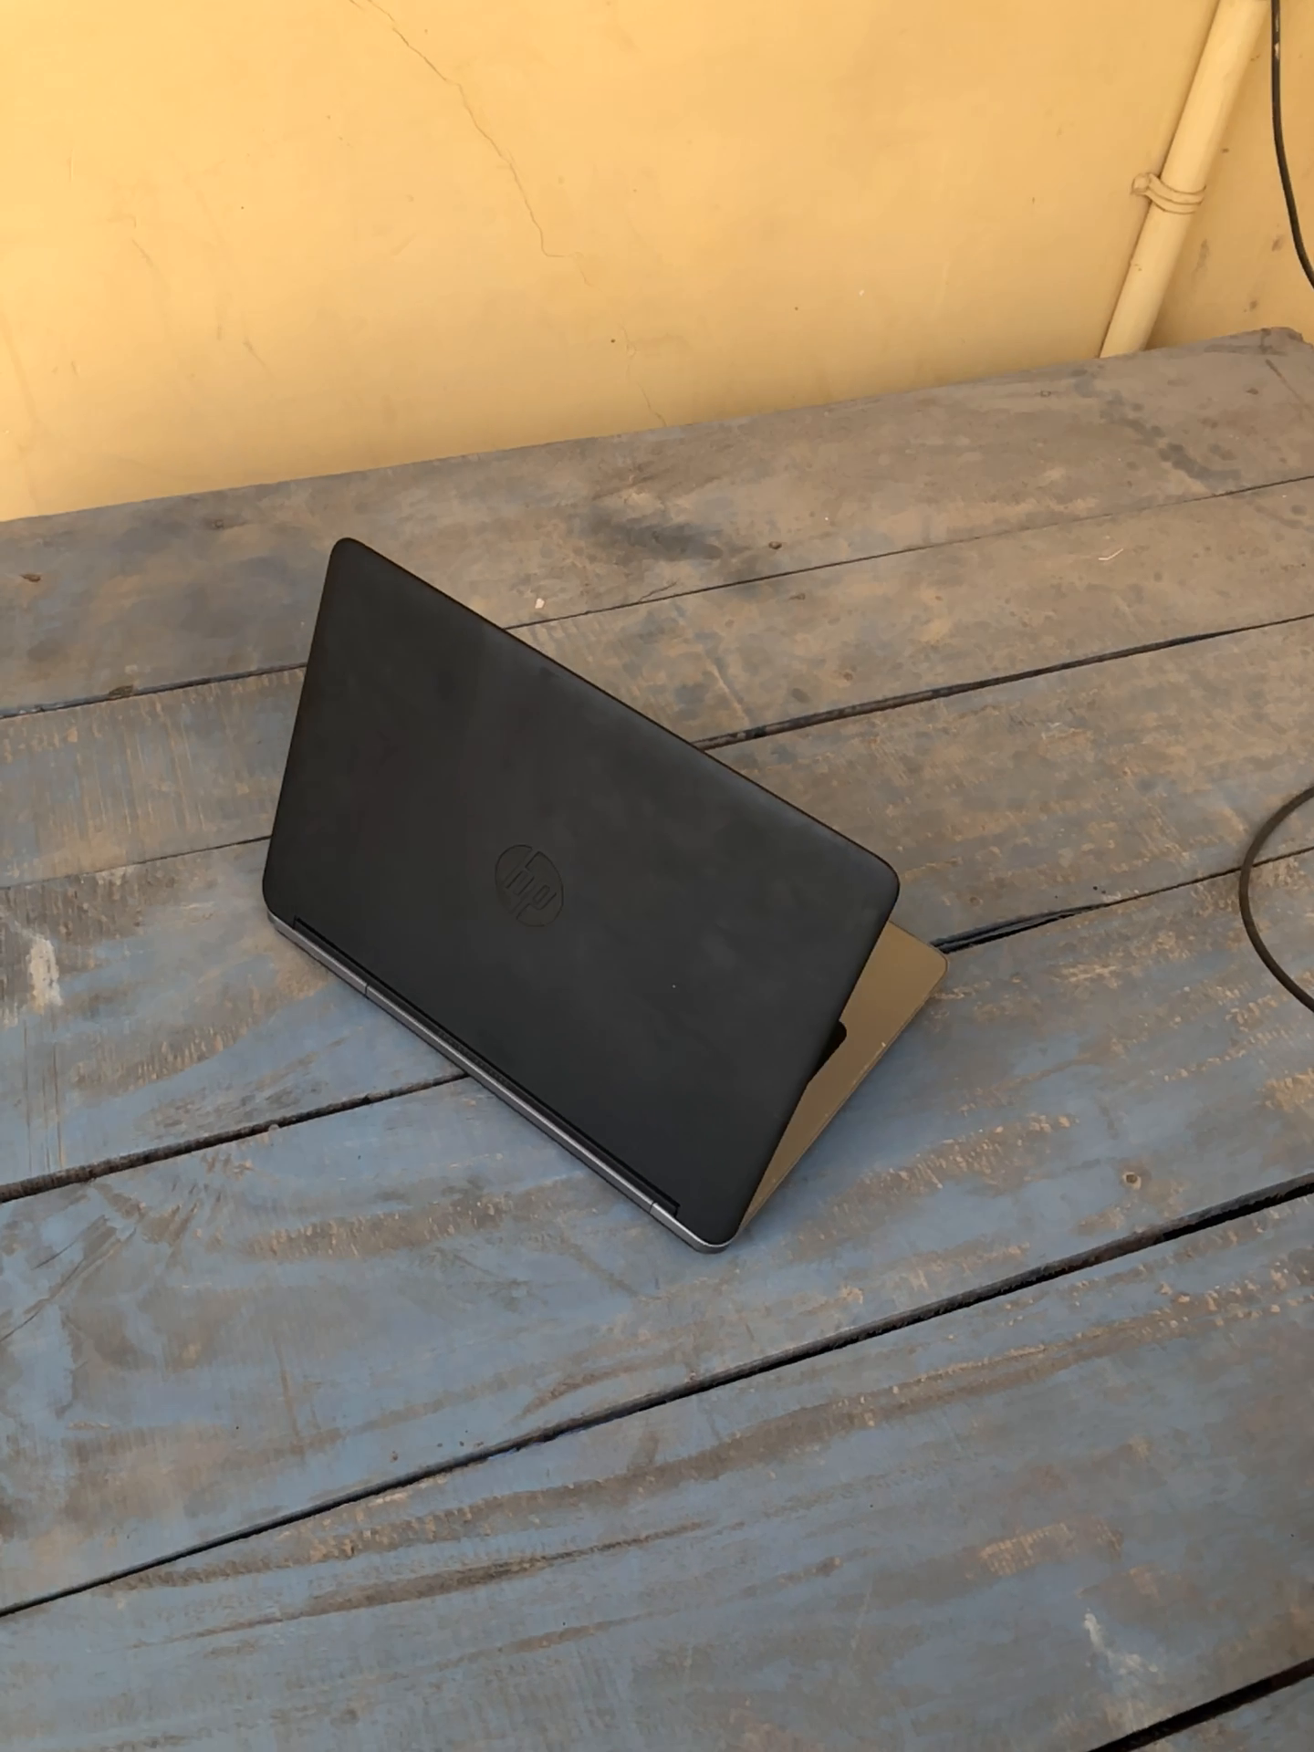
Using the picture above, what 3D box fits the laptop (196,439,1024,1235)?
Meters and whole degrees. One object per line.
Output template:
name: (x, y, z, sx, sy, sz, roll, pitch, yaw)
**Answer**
laptop: (-0.027, -0.030, 0.737, 0.317, 0.196, 0.211, 33, 56, 22)
